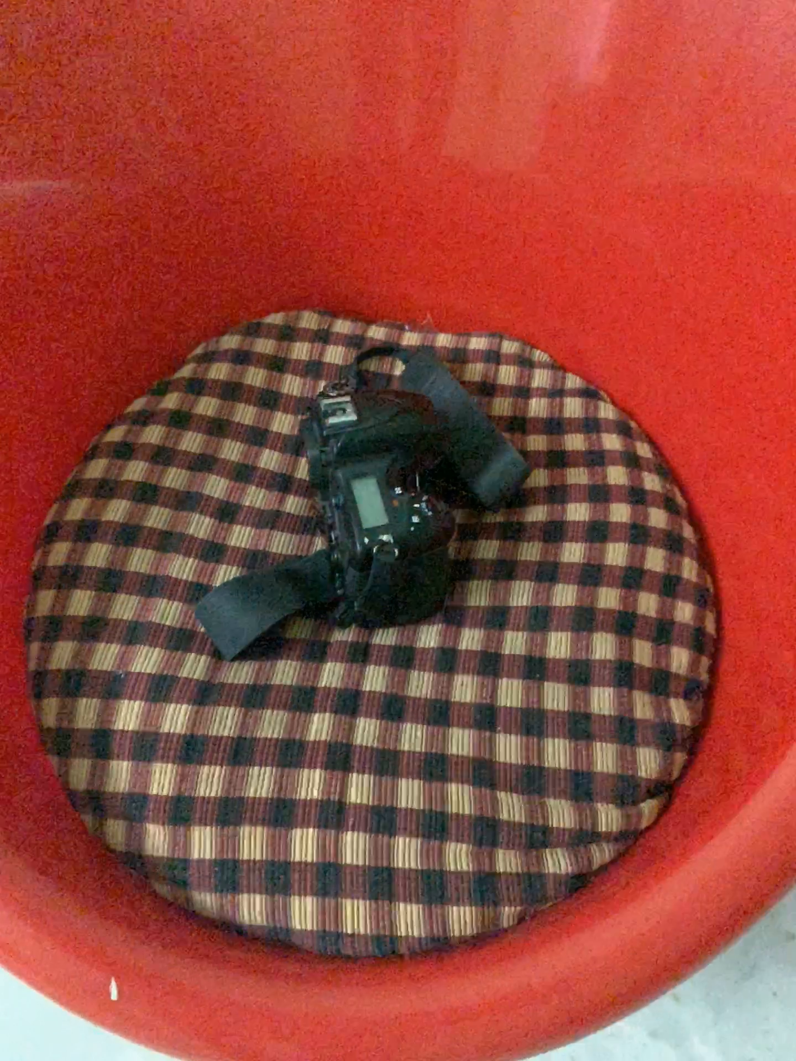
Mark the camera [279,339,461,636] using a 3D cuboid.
[{"bbox_3d":[-0.020,-0.025,0.481,0.080,0.090,0.140,-7,60,-6],"label":"camera"}]
